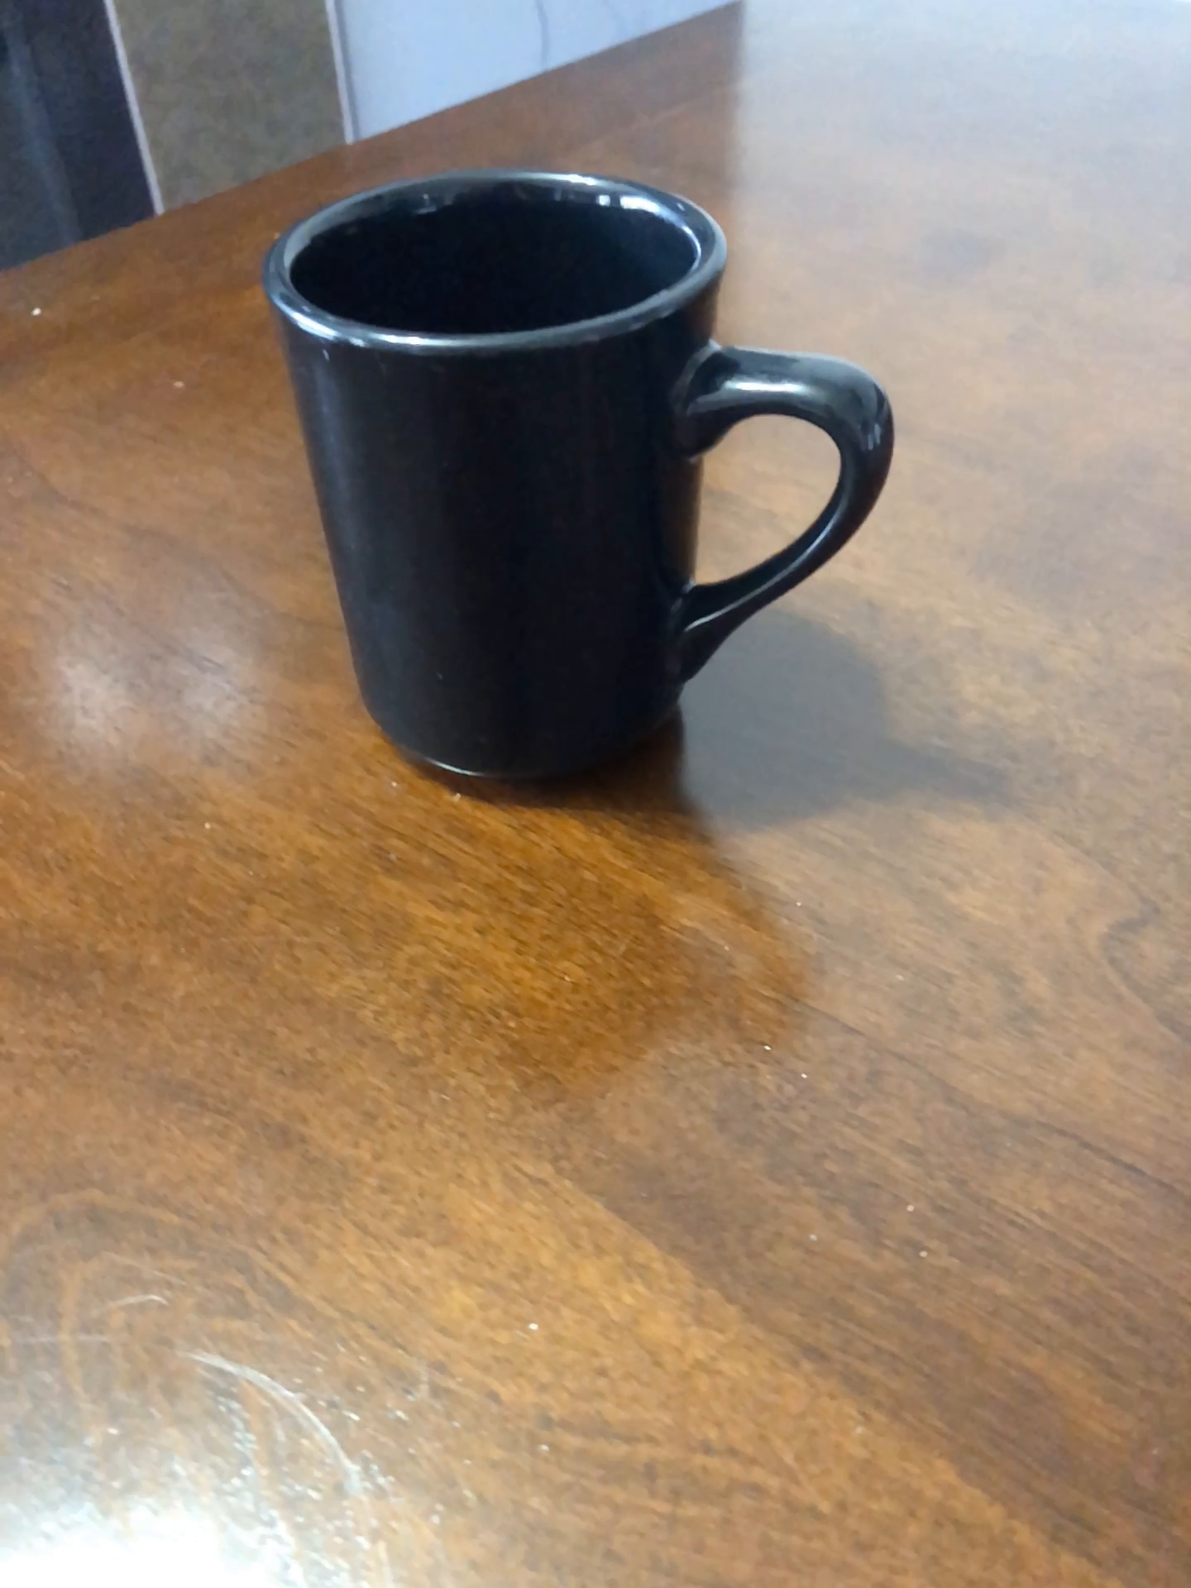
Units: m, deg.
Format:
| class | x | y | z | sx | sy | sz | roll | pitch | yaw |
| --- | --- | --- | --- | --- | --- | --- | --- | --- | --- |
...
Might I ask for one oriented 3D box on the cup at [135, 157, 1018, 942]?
| class | x | y | z | sx | sy | sz | roll | pitch | yaw |
| --- | --- | --- | --- | --- | --- | --- | --- | --- | --- |
| cup | 0.000 | -0.053 | 0.254 | 0.120 | 0.090 | 0.090 | 19 | 47 | 21 |
